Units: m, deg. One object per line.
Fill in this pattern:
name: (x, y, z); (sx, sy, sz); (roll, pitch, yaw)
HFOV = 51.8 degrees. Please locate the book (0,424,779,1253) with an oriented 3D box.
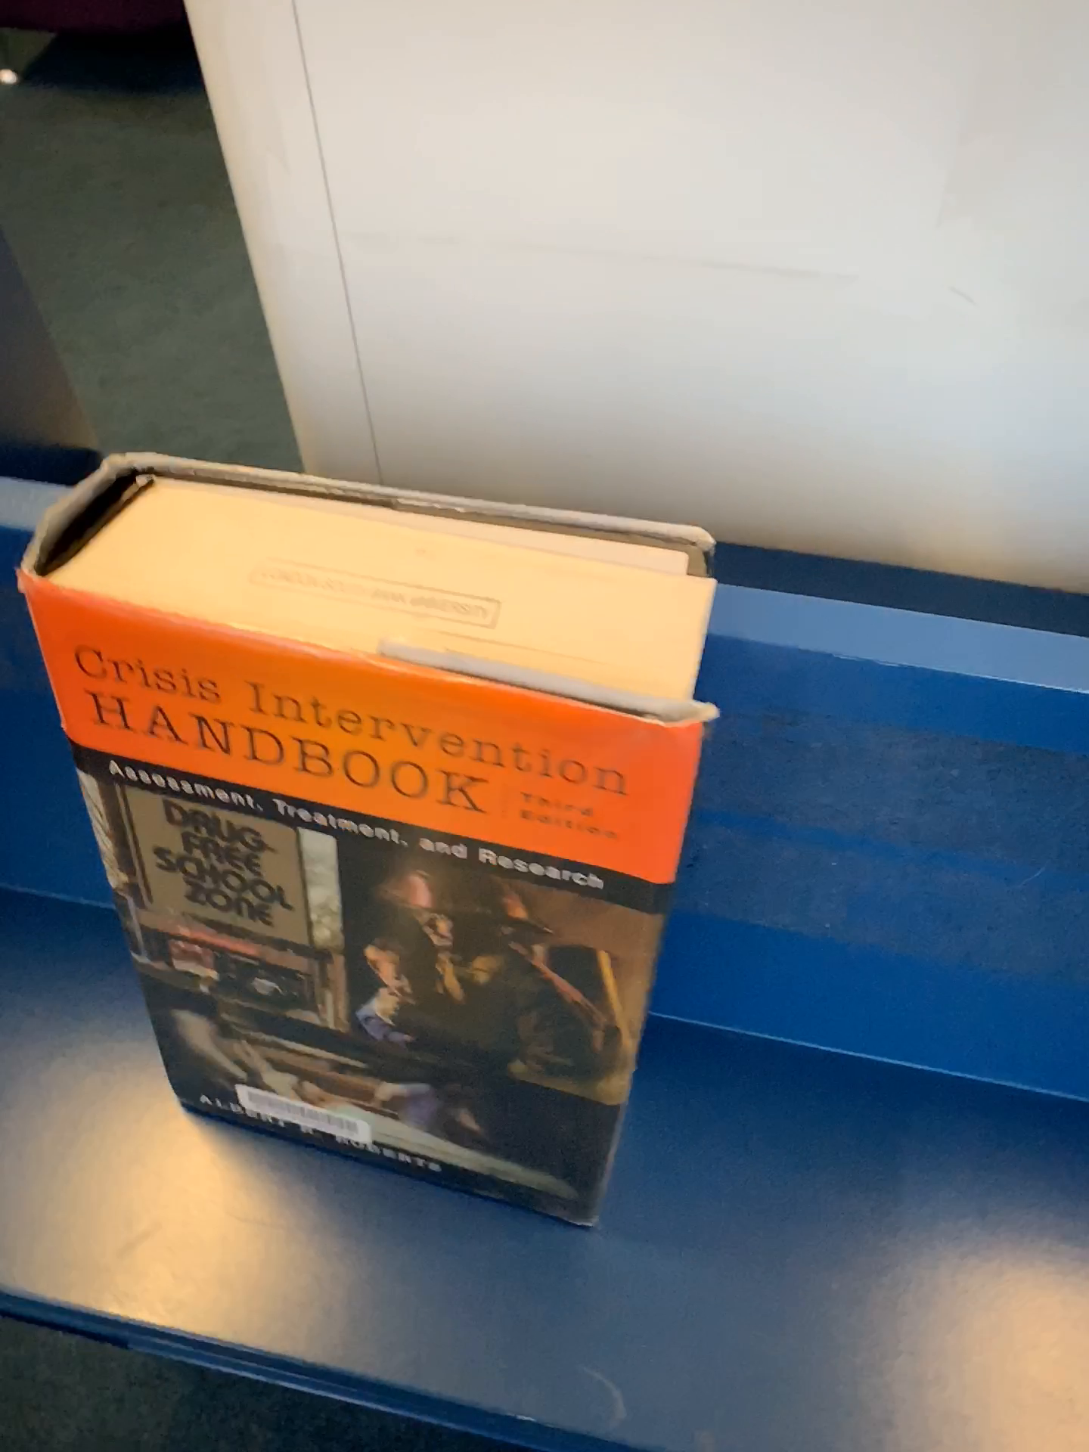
book: (-0.043, 0.048, 0.353); (0.180, 0.238, 0.081); (13, 42, 9)
